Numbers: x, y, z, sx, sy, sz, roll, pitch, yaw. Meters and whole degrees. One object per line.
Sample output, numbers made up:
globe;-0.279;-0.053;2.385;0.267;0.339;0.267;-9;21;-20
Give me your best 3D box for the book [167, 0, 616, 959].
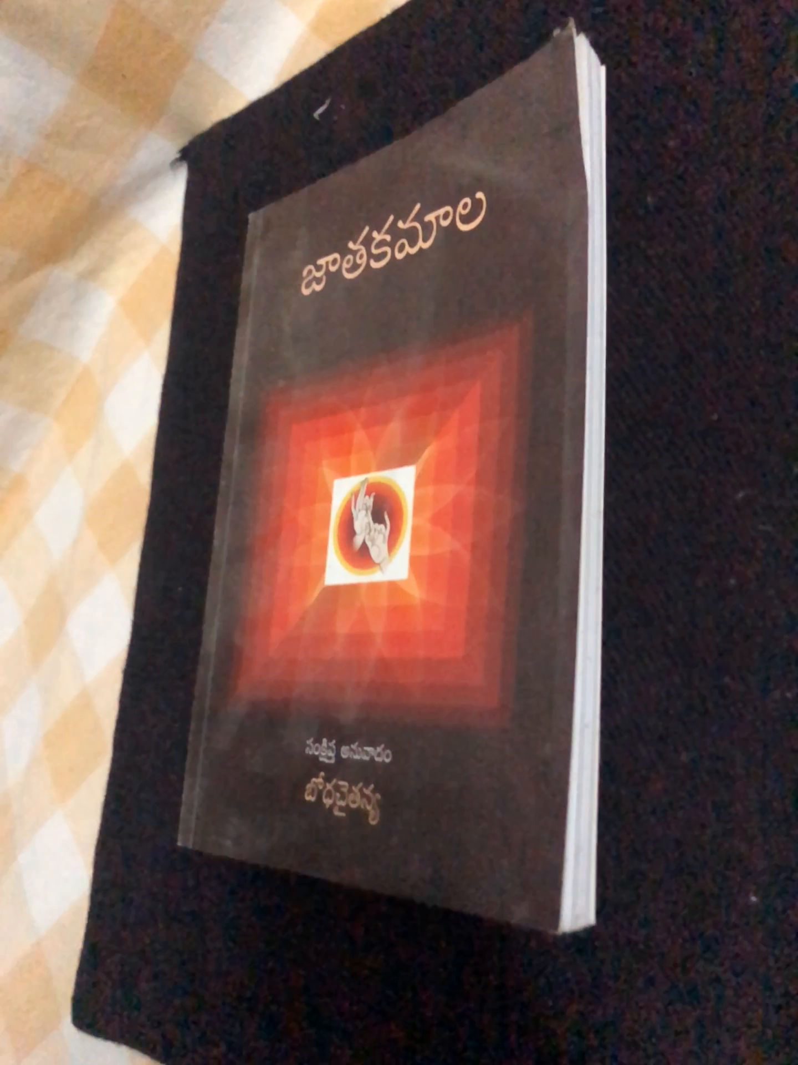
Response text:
book;-0.008;-0.018;0.235;0.140;0.020;0.210;-10;73;47
